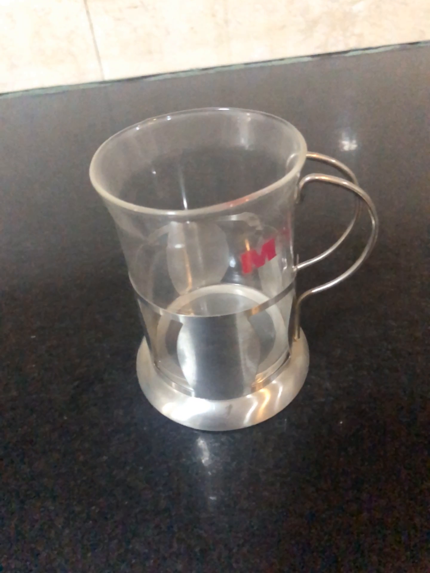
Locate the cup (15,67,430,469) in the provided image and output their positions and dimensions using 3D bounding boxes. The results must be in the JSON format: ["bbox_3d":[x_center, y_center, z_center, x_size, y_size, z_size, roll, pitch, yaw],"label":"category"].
[{"bbox_3d":[0.008,-0.005,0.179,0.110,0.109,0.081,-8,42,-2],"label":"cup"}]
